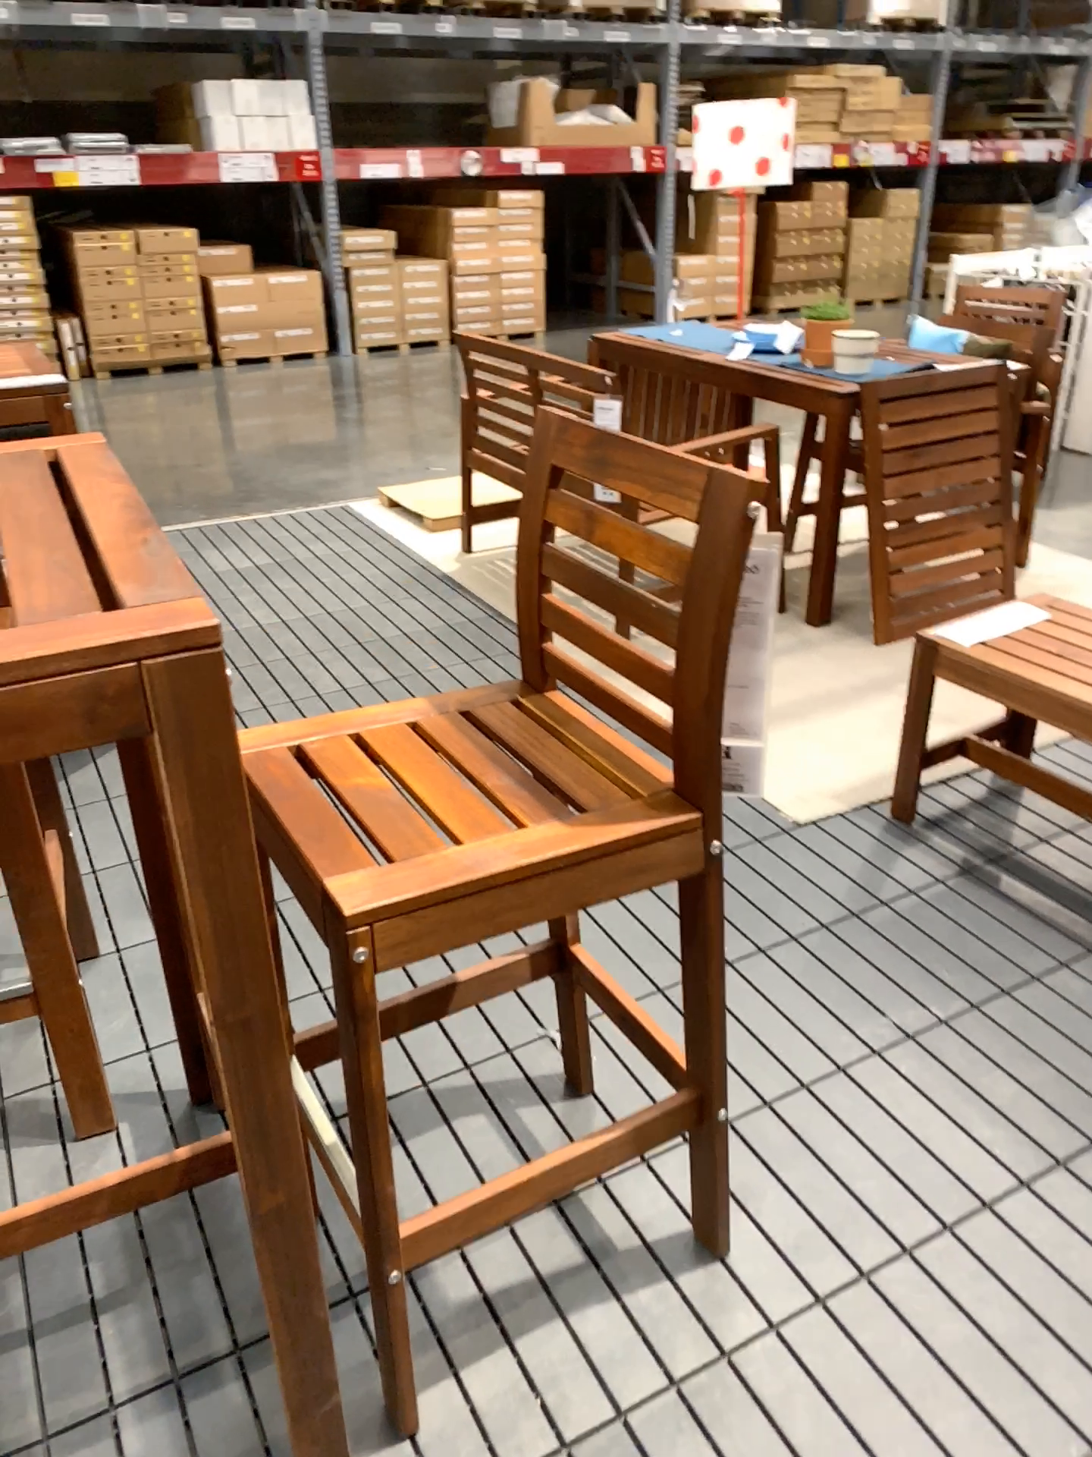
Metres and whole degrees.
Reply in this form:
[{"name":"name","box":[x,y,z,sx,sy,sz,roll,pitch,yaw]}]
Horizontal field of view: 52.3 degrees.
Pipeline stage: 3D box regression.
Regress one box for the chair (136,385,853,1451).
[{"name":"chair","box":[-0.084,0.206,1.492,0.600,1.144,0.593,-14,30,-24]}]
